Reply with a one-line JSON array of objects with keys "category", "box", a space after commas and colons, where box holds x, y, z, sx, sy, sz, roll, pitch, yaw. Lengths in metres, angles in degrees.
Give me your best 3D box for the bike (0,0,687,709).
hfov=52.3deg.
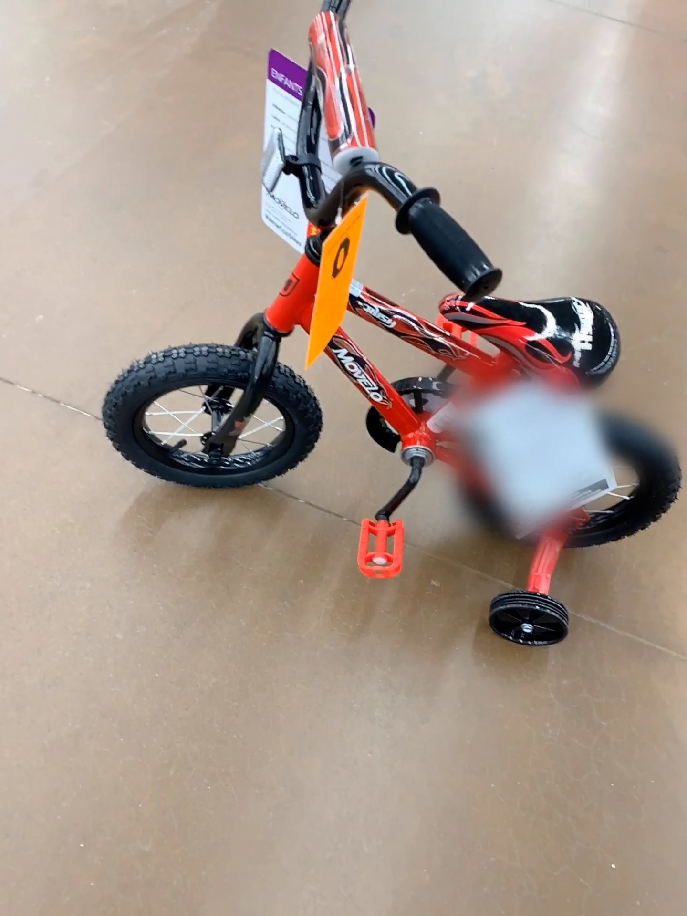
[{"category": "bike", "box": [0.094, -0.124, 0.713, 0.735, 0.604, 0.441, 11, 50, -5]}]
